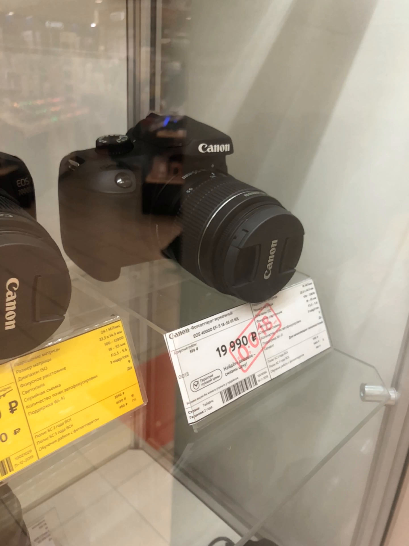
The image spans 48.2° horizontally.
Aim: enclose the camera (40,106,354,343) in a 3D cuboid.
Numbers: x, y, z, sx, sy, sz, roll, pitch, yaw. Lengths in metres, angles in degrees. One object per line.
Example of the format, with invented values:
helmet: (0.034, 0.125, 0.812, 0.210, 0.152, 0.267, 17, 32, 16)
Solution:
camera: (-0.010, -0.049, 0.296, 0.125, 0.100, 0.147, -17, 30, -40)
